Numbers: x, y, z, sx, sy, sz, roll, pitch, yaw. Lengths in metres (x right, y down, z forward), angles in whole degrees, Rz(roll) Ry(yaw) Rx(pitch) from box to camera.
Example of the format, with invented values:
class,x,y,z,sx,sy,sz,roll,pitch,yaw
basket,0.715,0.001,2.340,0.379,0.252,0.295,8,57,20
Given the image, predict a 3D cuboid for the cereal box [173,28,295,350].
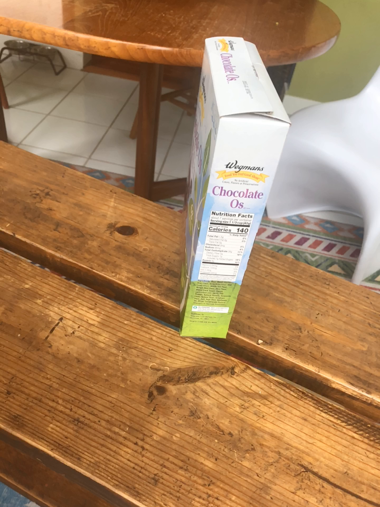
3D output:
class,x,y,z,sx,sy,sz,roll,pitch,yaw
cereal box,0.025,-0.065,0.466,0.060,0.278,0.212,4,42,-6
